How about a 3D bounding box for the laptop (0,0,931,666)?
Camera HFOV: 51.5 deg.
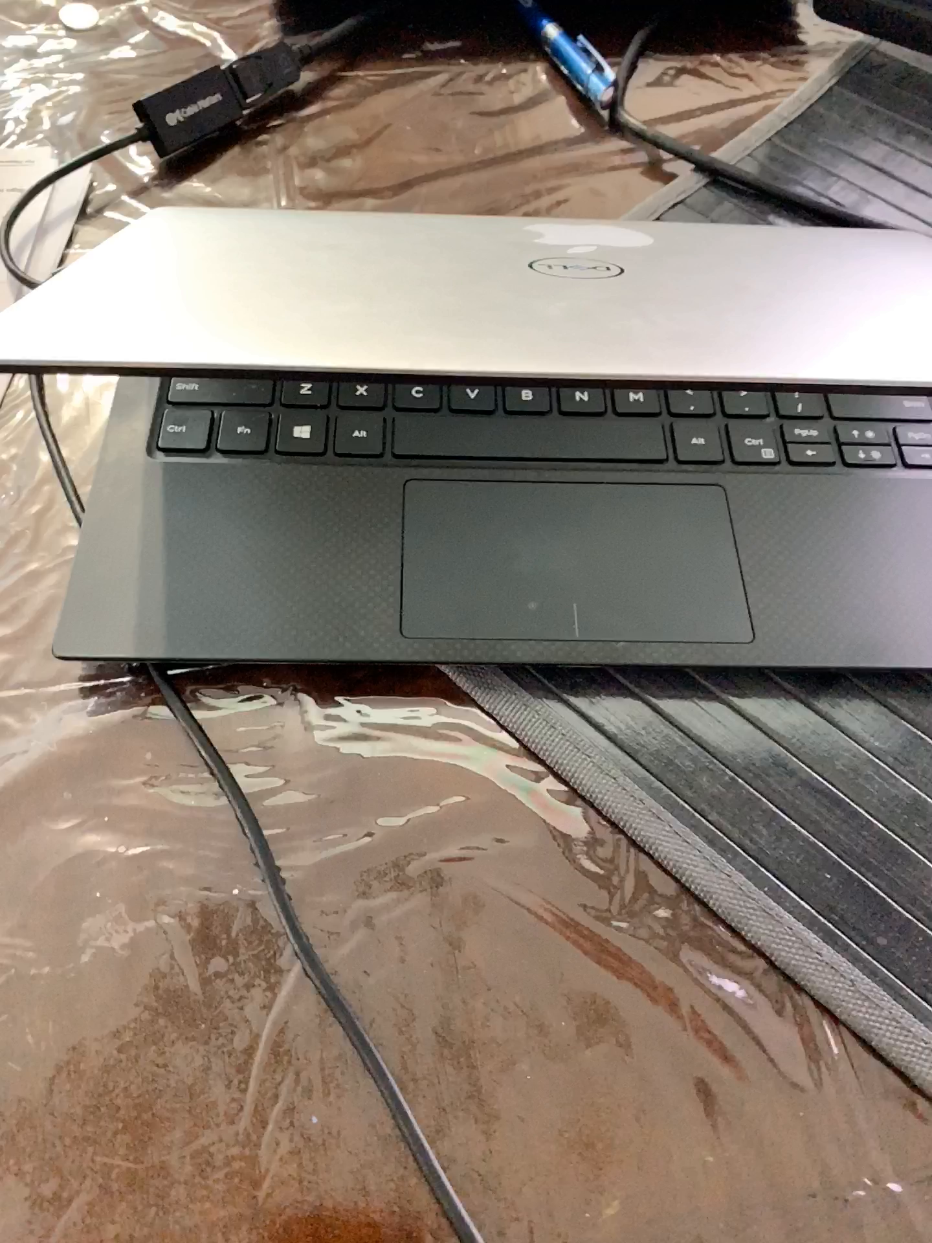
[{"bbox_3d":[0.034,-0.089,0.283,0.289,0.082,0.183,1,59,-4],"label":"laptop"}]
